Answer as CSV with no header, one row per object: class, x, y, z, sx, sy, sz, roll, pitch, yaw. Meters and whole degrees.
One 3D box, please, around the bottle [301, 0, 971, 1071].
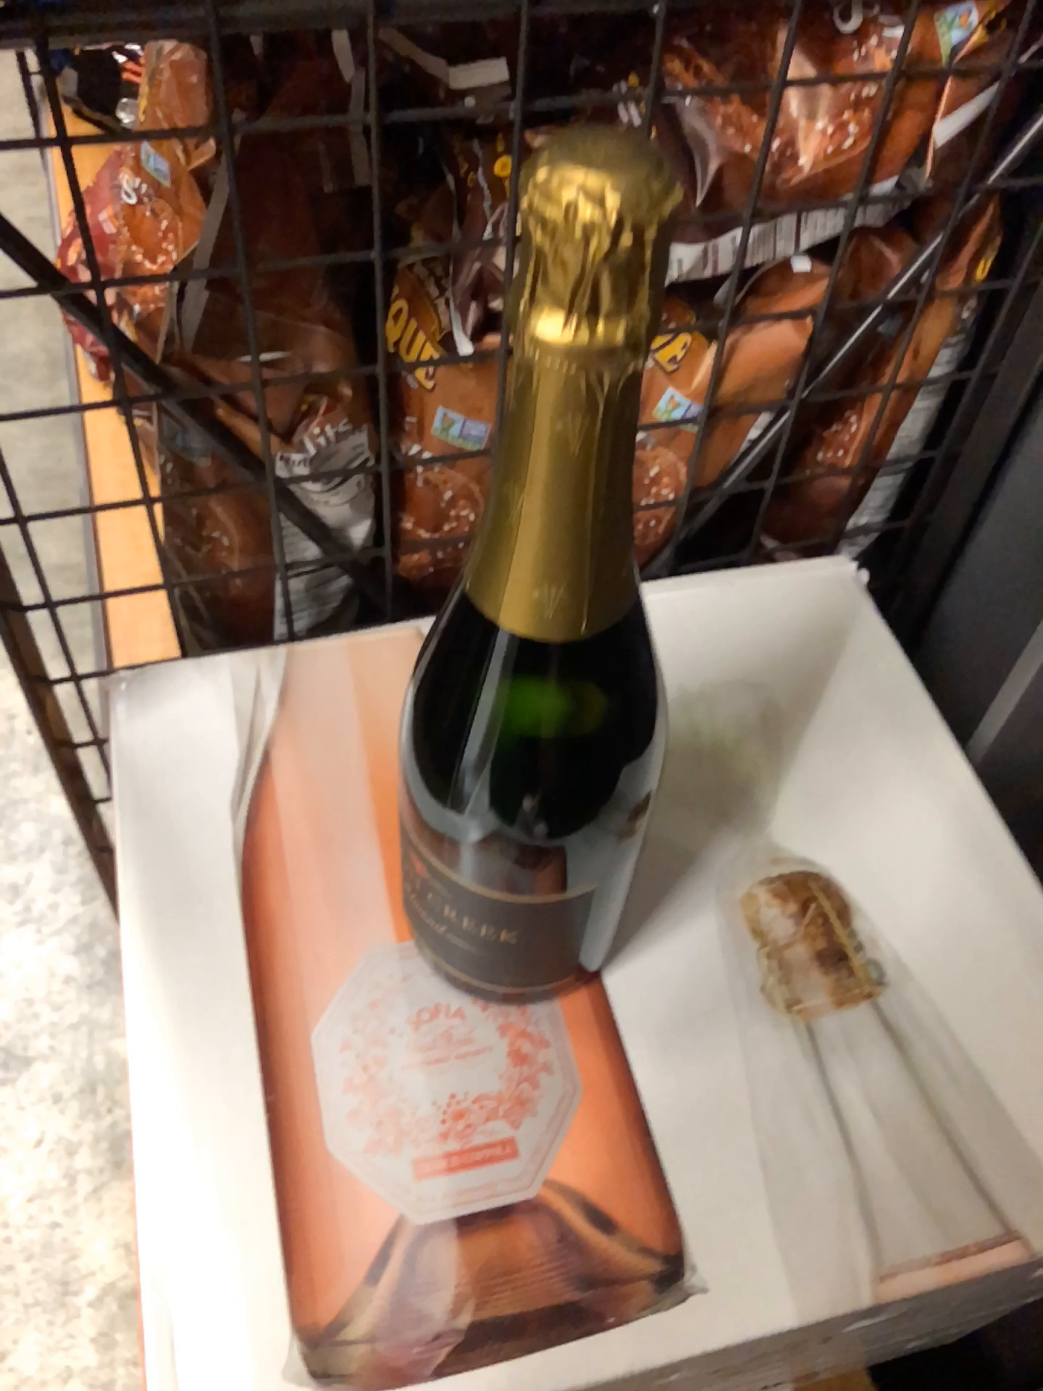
bottle,0.010,-0.013,0.337,0.090,0.309,0.090,3,50,-3
